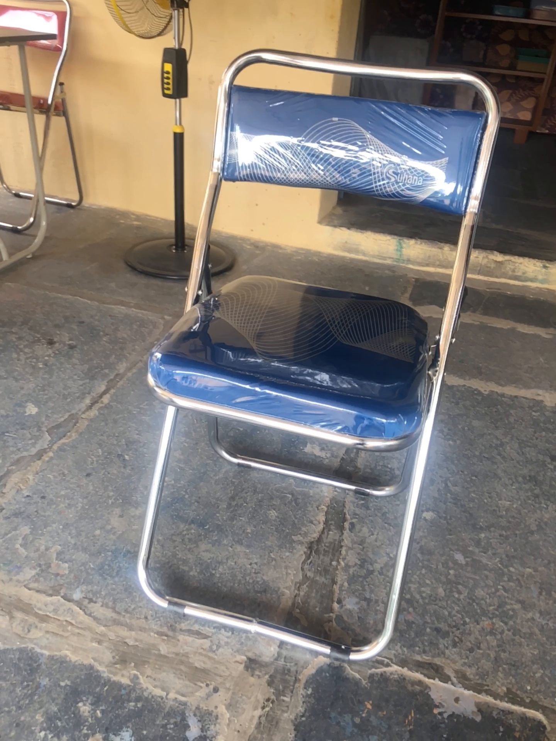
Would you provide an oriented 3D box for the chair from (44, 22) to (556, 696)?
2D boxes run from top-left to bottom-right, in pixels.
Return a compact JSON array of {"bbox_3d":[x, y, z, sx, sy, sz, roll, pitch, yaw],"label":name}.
[{"bbox_3d":[0.052,-0.047,0.944,0.500,0.806,0.513,11,29,10],"label":"chair"}]
